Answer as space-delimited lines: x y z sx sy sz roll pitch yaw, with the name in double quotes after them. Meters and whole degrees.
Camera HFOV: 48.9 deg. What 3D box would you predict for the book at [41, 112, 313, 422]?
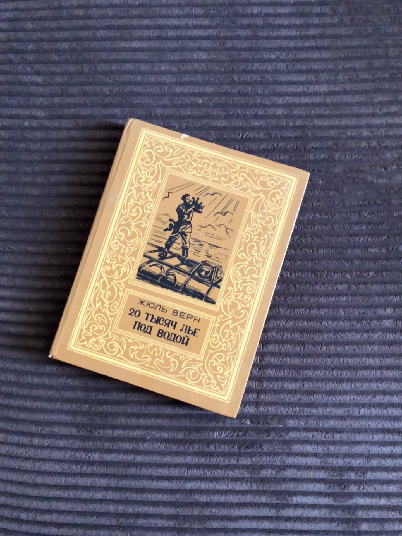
-0.018 -0.003 0.384 0.170 0.029 0.219 17 86 1 "book"
